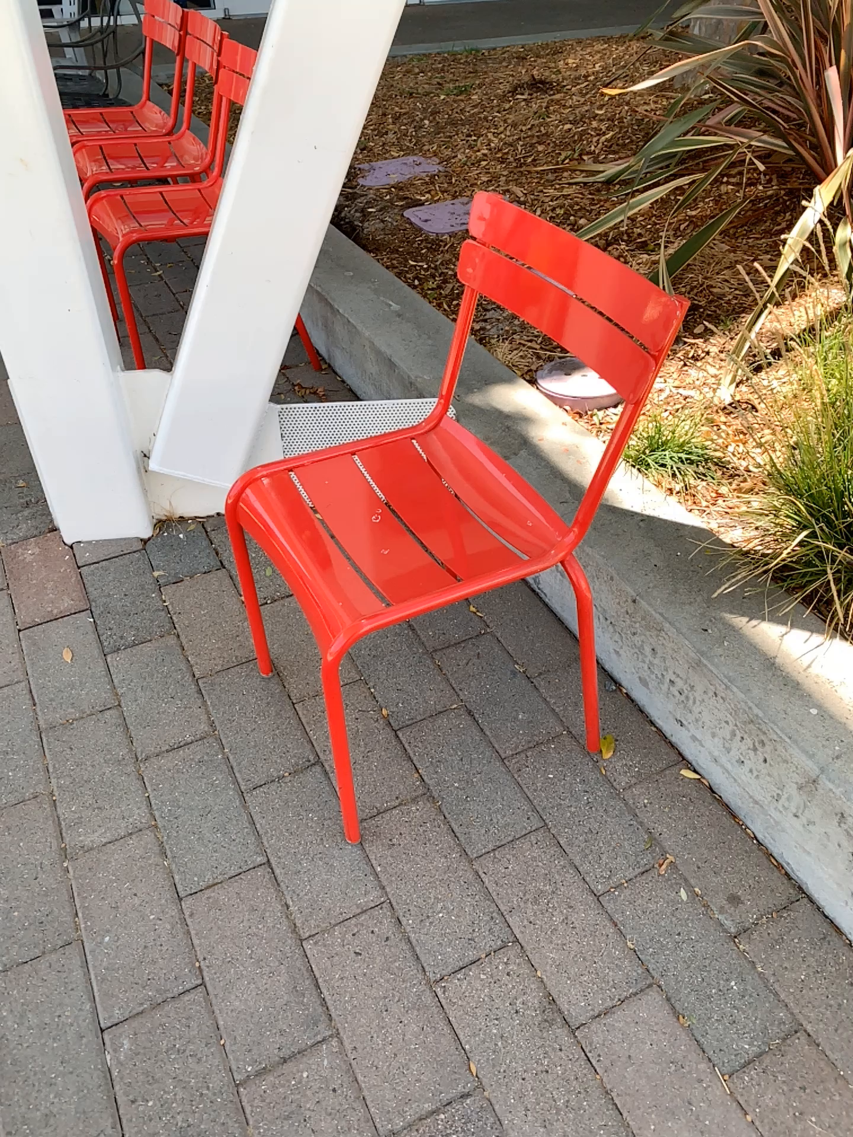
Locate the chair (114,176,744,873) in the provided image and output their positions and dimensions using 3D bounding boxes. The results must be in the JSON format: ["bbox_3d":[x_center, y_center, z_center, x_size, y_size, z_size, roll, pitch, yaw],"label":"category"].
[{"bbox_3d":[-0.030,-0.096,1.393,0.630,0.785,0.583,-18,43,-21],"label":"chair"}]
